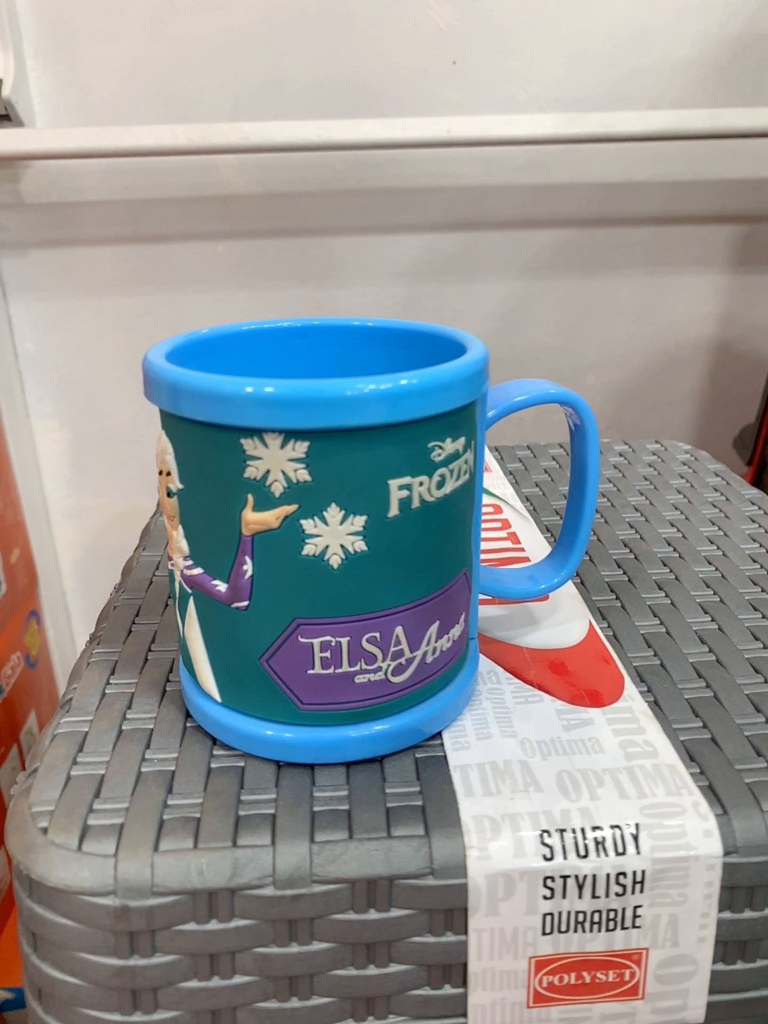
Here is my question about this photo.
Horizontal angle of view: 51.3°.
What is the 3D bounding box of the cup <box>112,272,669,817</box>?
[{"bbox_3d":[-0.004,-0.003,0.206,0.110,0.099,0.081,-9,24,-17],"label":"cup"}]
